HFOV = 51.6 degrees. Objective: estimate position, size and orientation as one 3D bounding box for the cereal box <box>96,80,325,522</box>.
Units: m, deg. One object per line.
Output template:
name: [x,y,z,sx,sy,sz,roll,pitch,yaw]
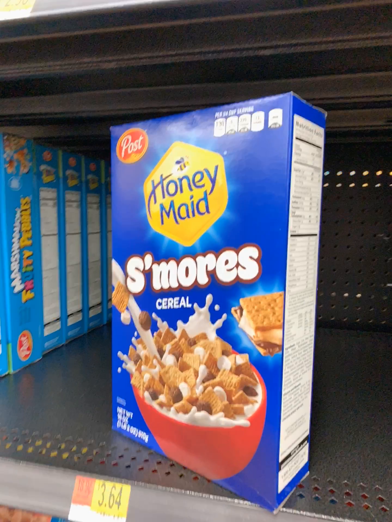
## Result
cereal box: [0.000,0.025,0.378,0.200,0.320,0.070,6,6,38]
